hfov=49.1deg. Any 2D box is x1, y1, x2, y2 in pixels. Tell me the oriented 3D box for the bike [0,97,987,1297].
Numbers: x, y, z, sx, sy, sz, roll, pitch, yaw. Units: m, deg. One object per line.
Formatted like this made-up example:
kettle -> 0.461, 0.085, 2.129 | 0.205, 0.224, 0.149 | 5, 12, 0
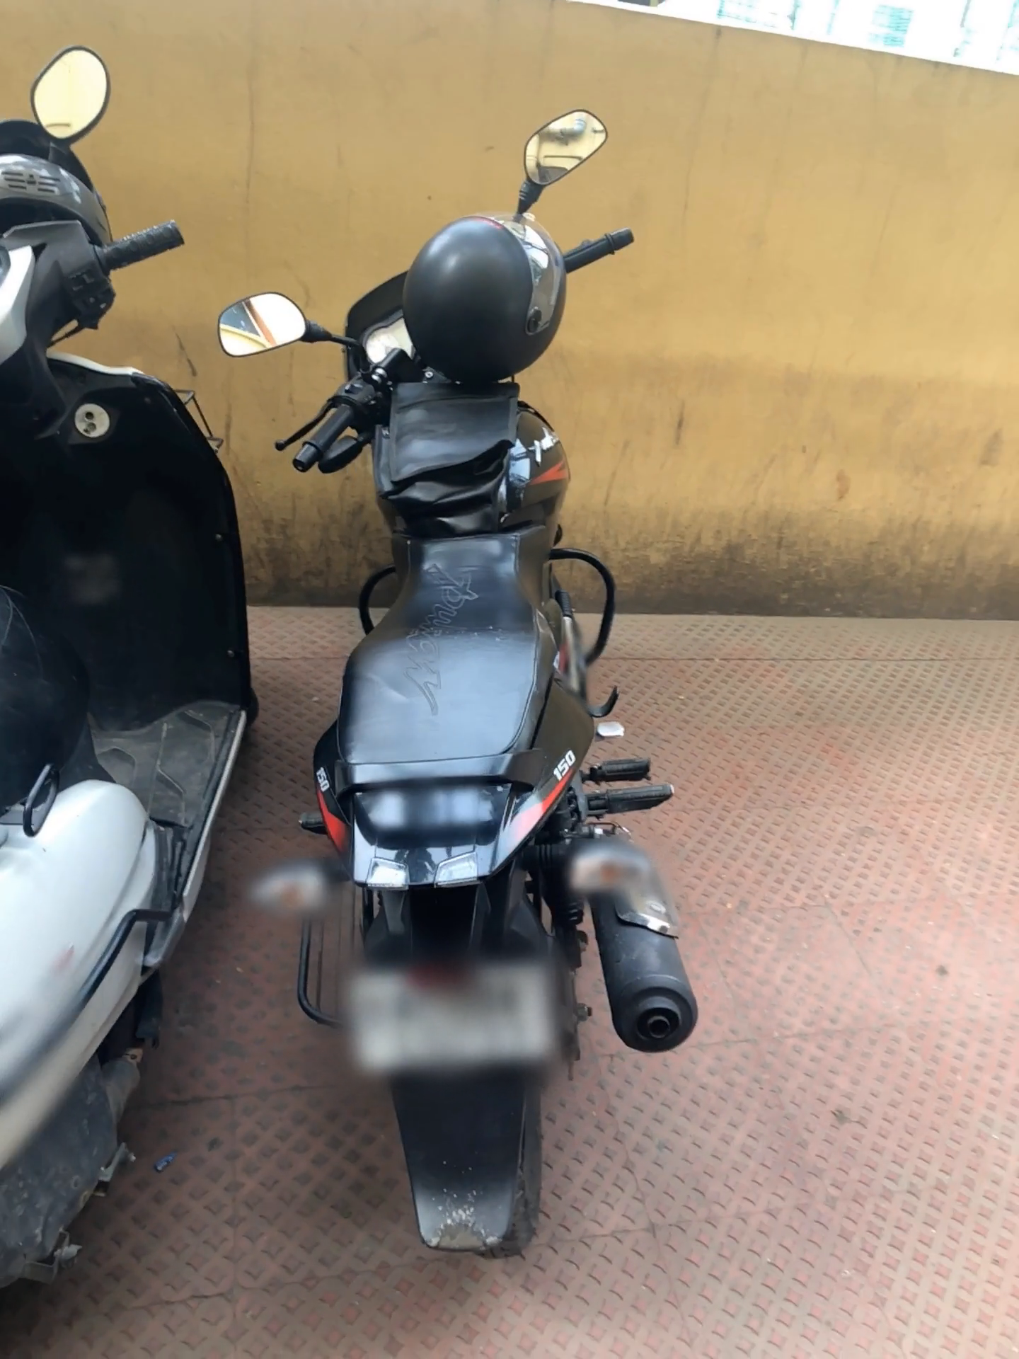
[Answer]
bike -> -0.226, -0.127, 1.784 | 0.826, 1.057, 1.613 | 2, 36, -12
